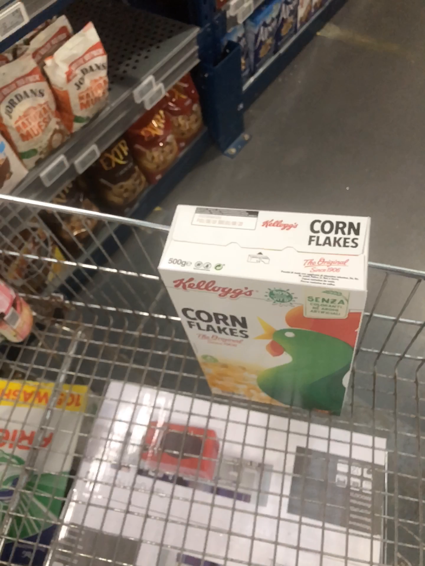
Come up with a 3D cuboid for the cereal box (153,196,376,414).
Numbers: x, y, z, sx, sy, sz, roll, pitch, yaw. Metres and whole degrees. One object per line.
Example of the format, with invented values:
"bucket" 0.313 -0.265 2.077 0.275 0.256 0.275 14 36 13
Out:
"cereal box" 0.073 0.047 0.570 0.190 0.329 0.090 6 59 14
